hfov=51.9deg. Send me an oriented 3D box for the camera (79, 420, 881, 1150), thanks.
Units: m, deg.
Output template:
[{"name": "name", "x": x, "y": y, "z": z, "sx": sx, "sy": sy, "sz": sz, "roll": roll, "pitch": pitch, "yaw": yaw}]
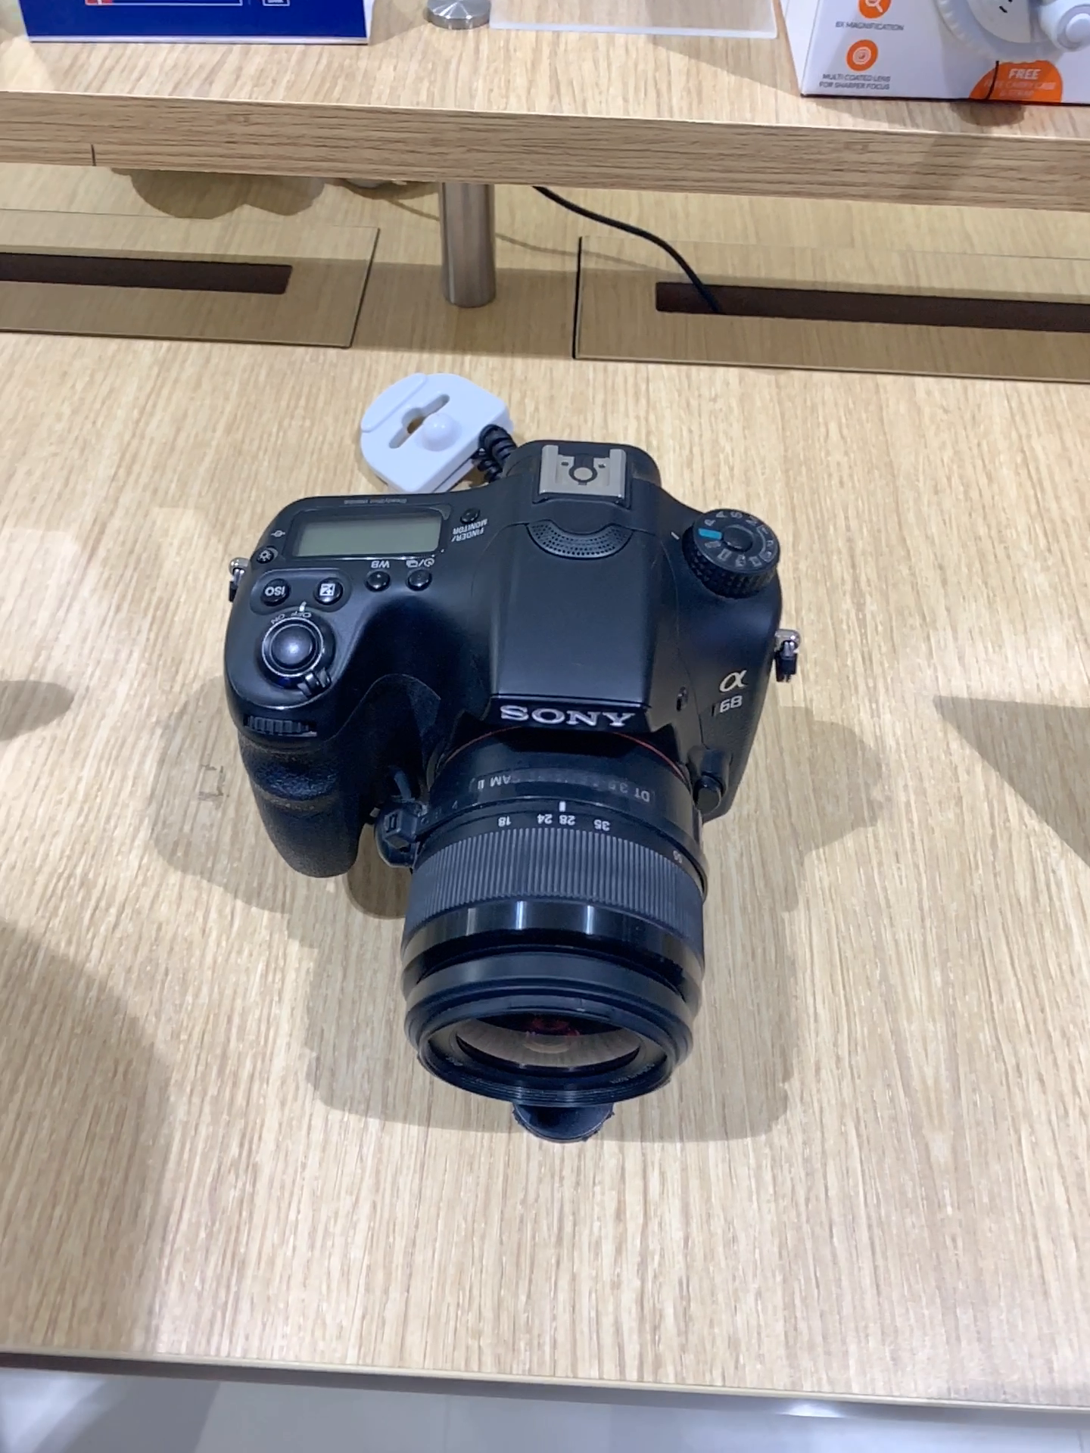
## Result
[{"name": "camera", "x": -0.010, "y": 0.014, "z": 0.262, "sx": 0.130, "sy": 0.100, "sz": 0.135, "roll": 1, "pitch": 54, "yaw": 0}]
